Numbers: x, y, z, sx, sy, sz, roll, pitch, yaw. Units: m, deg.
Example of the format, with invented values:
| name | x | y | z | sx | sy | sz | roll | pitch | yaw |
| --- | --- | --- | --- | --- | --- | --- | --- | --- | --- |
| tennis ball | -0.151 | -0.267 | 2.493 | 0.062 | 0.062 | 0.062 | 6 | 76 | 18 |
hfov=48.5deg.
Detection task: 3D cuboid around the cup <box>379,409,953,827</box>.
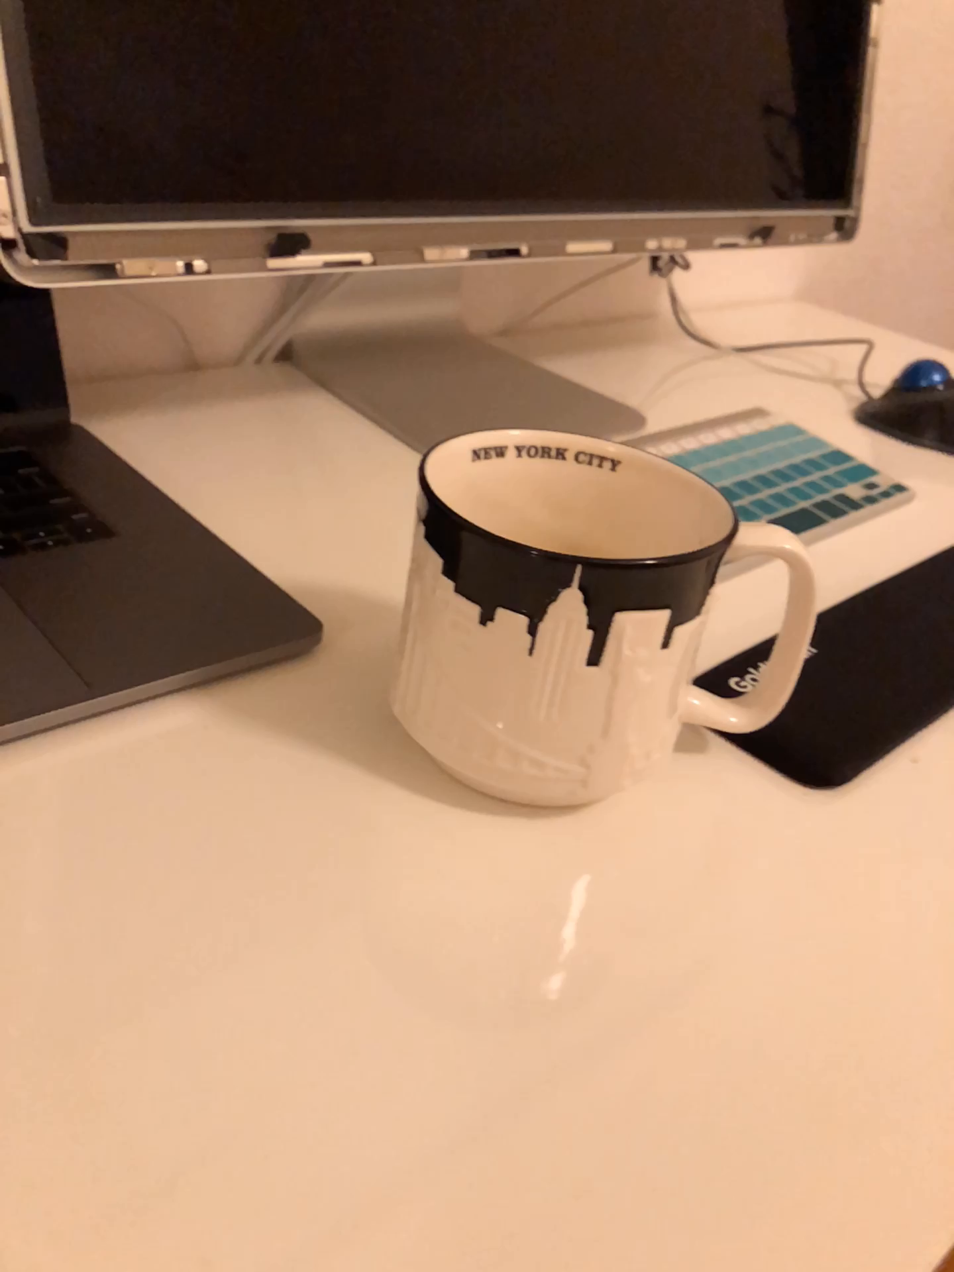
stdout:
| name | x | y | z | sx | sy | sz | roll | pitch | yaw |
| --- | --- | --- | --- | --- | --- | --- | --- | --- | --- |
| cup | 0.054 | -0.008 | 0.361 | 0.160 | 0.089 | 0.111 | 3 | 31 | -11 |
